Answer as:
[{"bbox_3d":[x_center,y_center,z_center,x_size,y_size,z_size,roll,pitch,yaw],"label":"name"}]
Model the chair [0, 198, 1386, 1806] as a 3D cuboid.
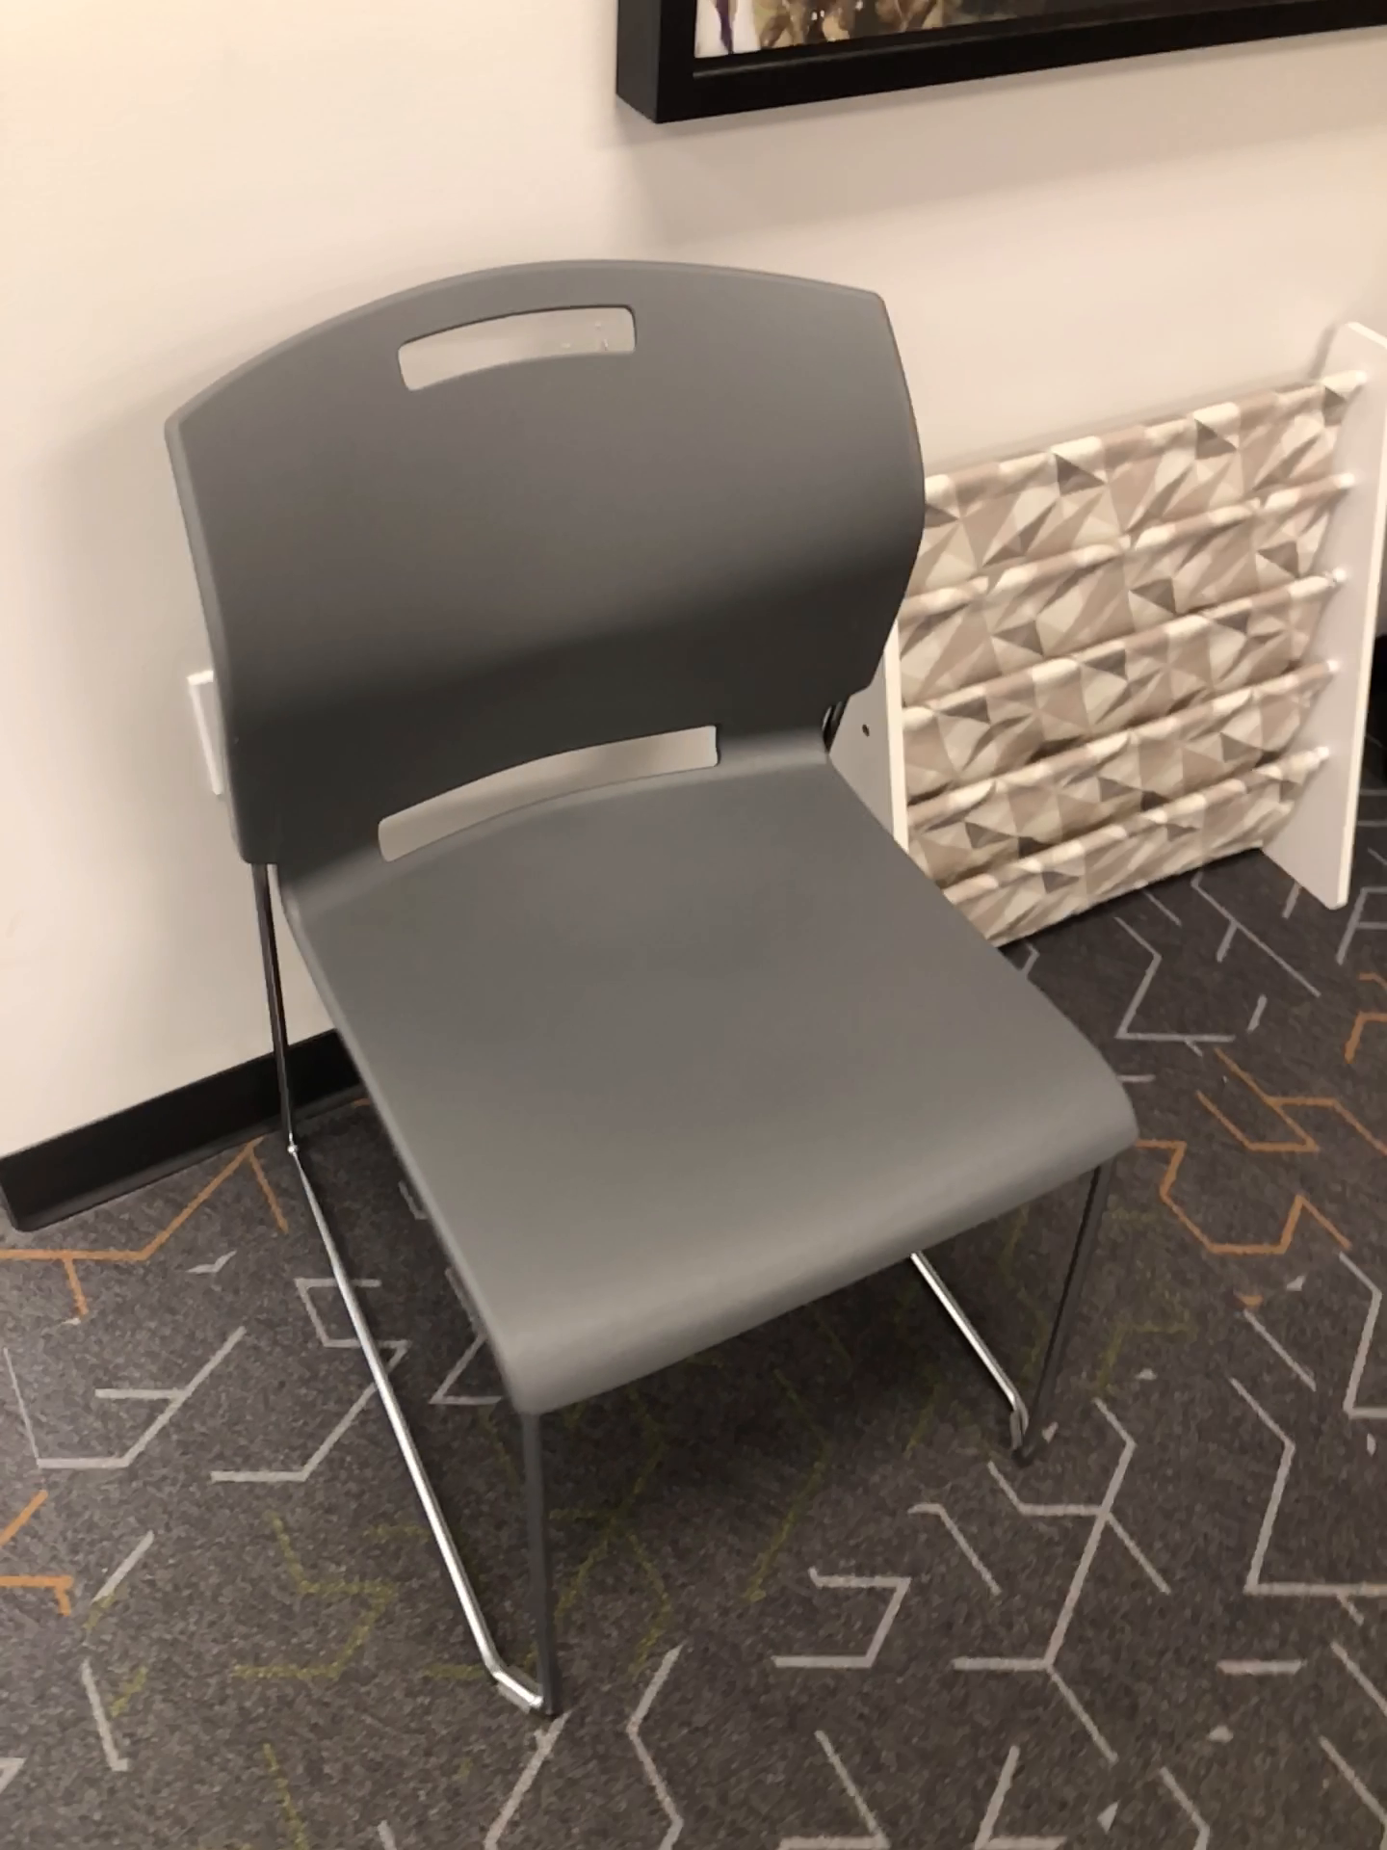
[{"bbox_3d":[-0.034,0.028,1.072,0.581,0.735,0.674,-19,50,-22],"label":"chair"}]
